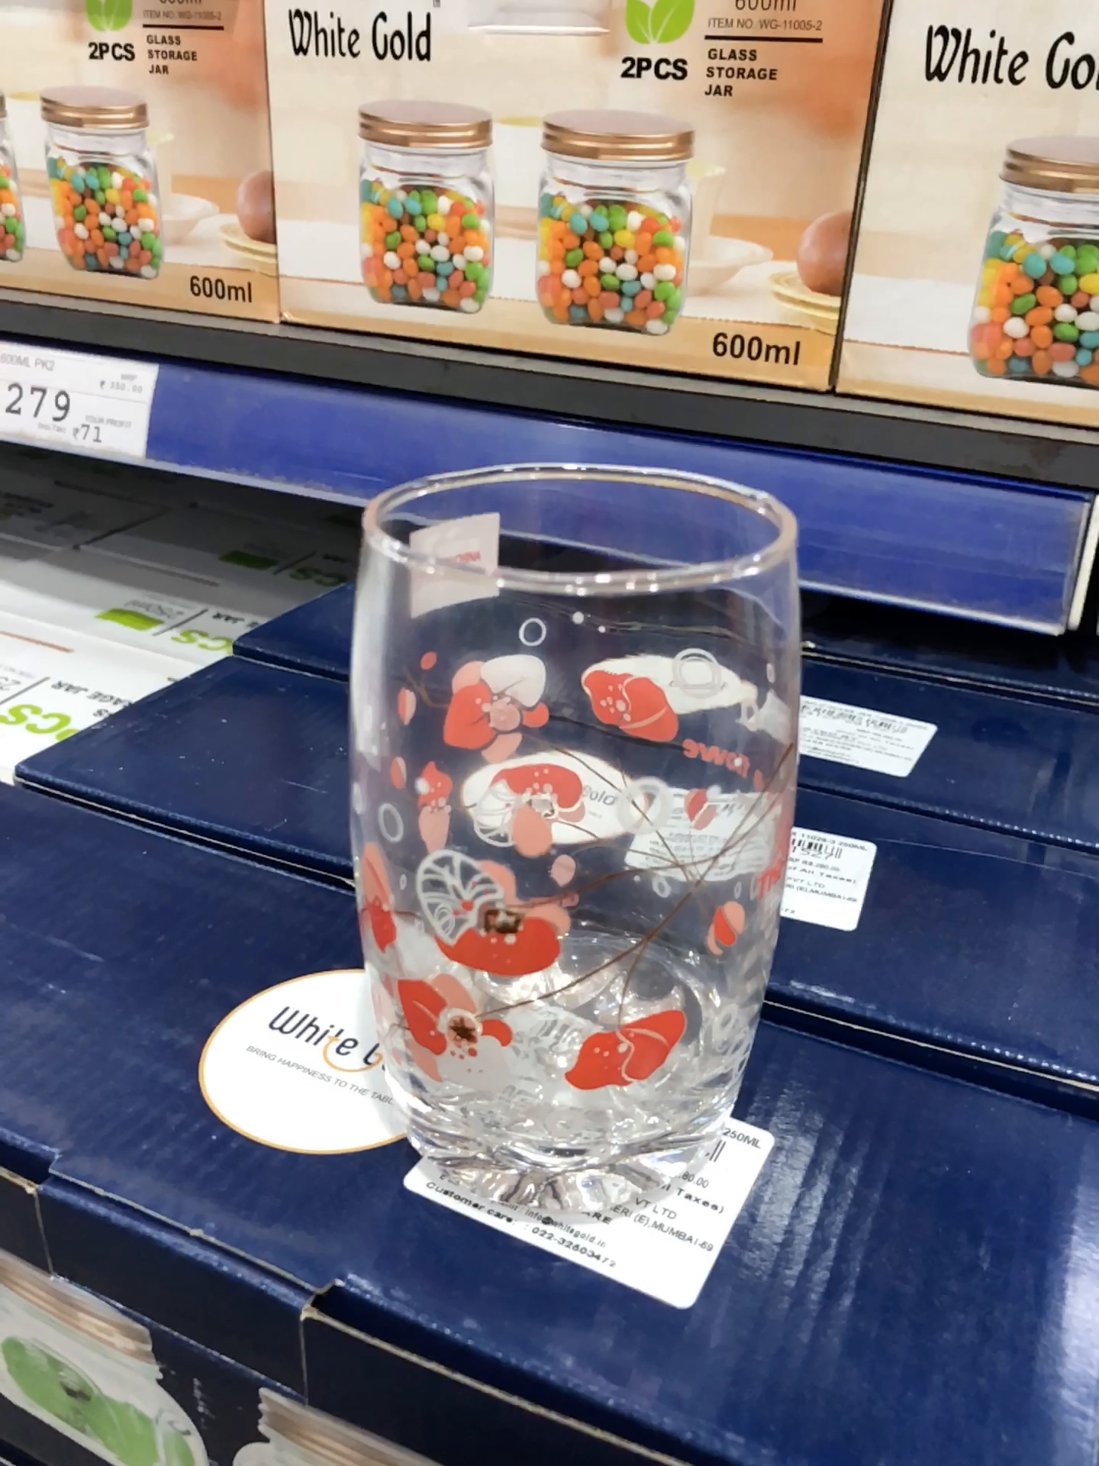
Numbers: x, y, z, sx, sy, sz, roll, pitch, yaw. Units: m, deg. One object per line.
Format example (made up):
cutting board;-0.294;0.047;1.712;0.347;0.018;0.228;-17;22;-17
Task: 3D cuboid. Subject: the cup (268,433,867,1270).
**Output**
cup;0.006;0.014;0.193;0.070;0.100;0.070;2;27;-1
